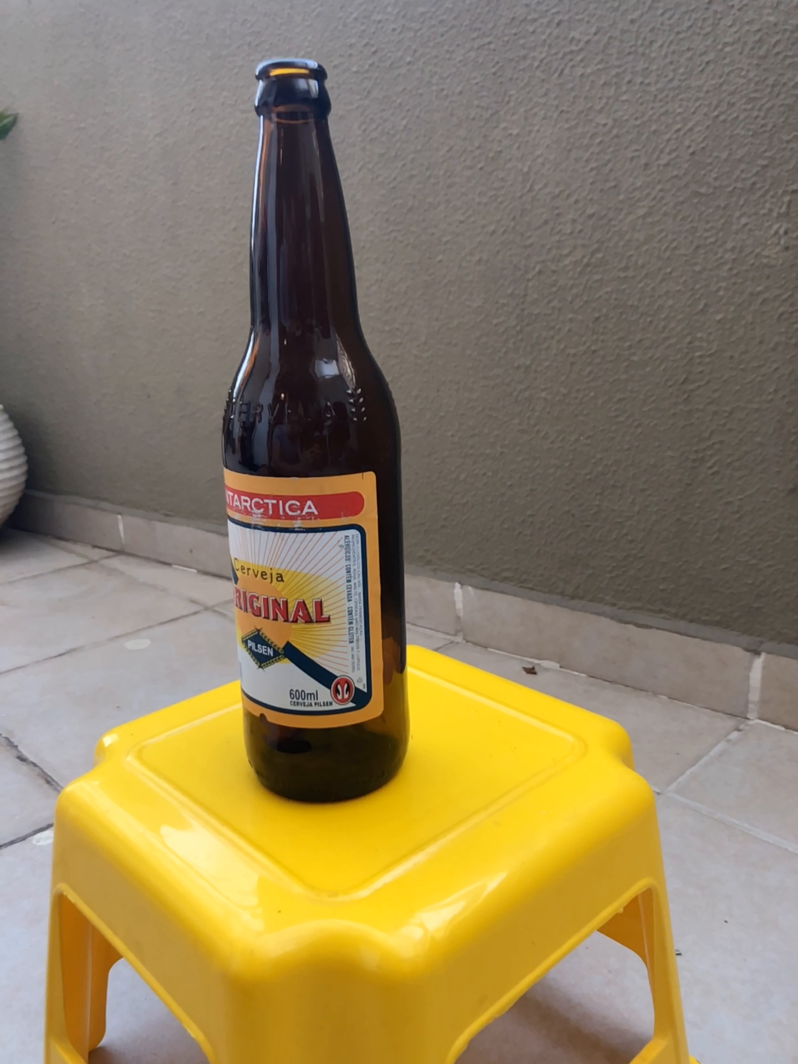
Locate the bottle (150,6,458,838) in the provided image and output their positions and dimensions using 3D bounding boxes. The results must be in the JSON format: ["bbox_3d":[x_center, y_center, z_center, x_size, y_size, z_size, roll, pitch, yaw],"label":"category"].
[{"bbox_3d":[-0.034,-0.037,0.362,0.080,0.289,0.080,-1,13,0],"label":"bottle"}]
